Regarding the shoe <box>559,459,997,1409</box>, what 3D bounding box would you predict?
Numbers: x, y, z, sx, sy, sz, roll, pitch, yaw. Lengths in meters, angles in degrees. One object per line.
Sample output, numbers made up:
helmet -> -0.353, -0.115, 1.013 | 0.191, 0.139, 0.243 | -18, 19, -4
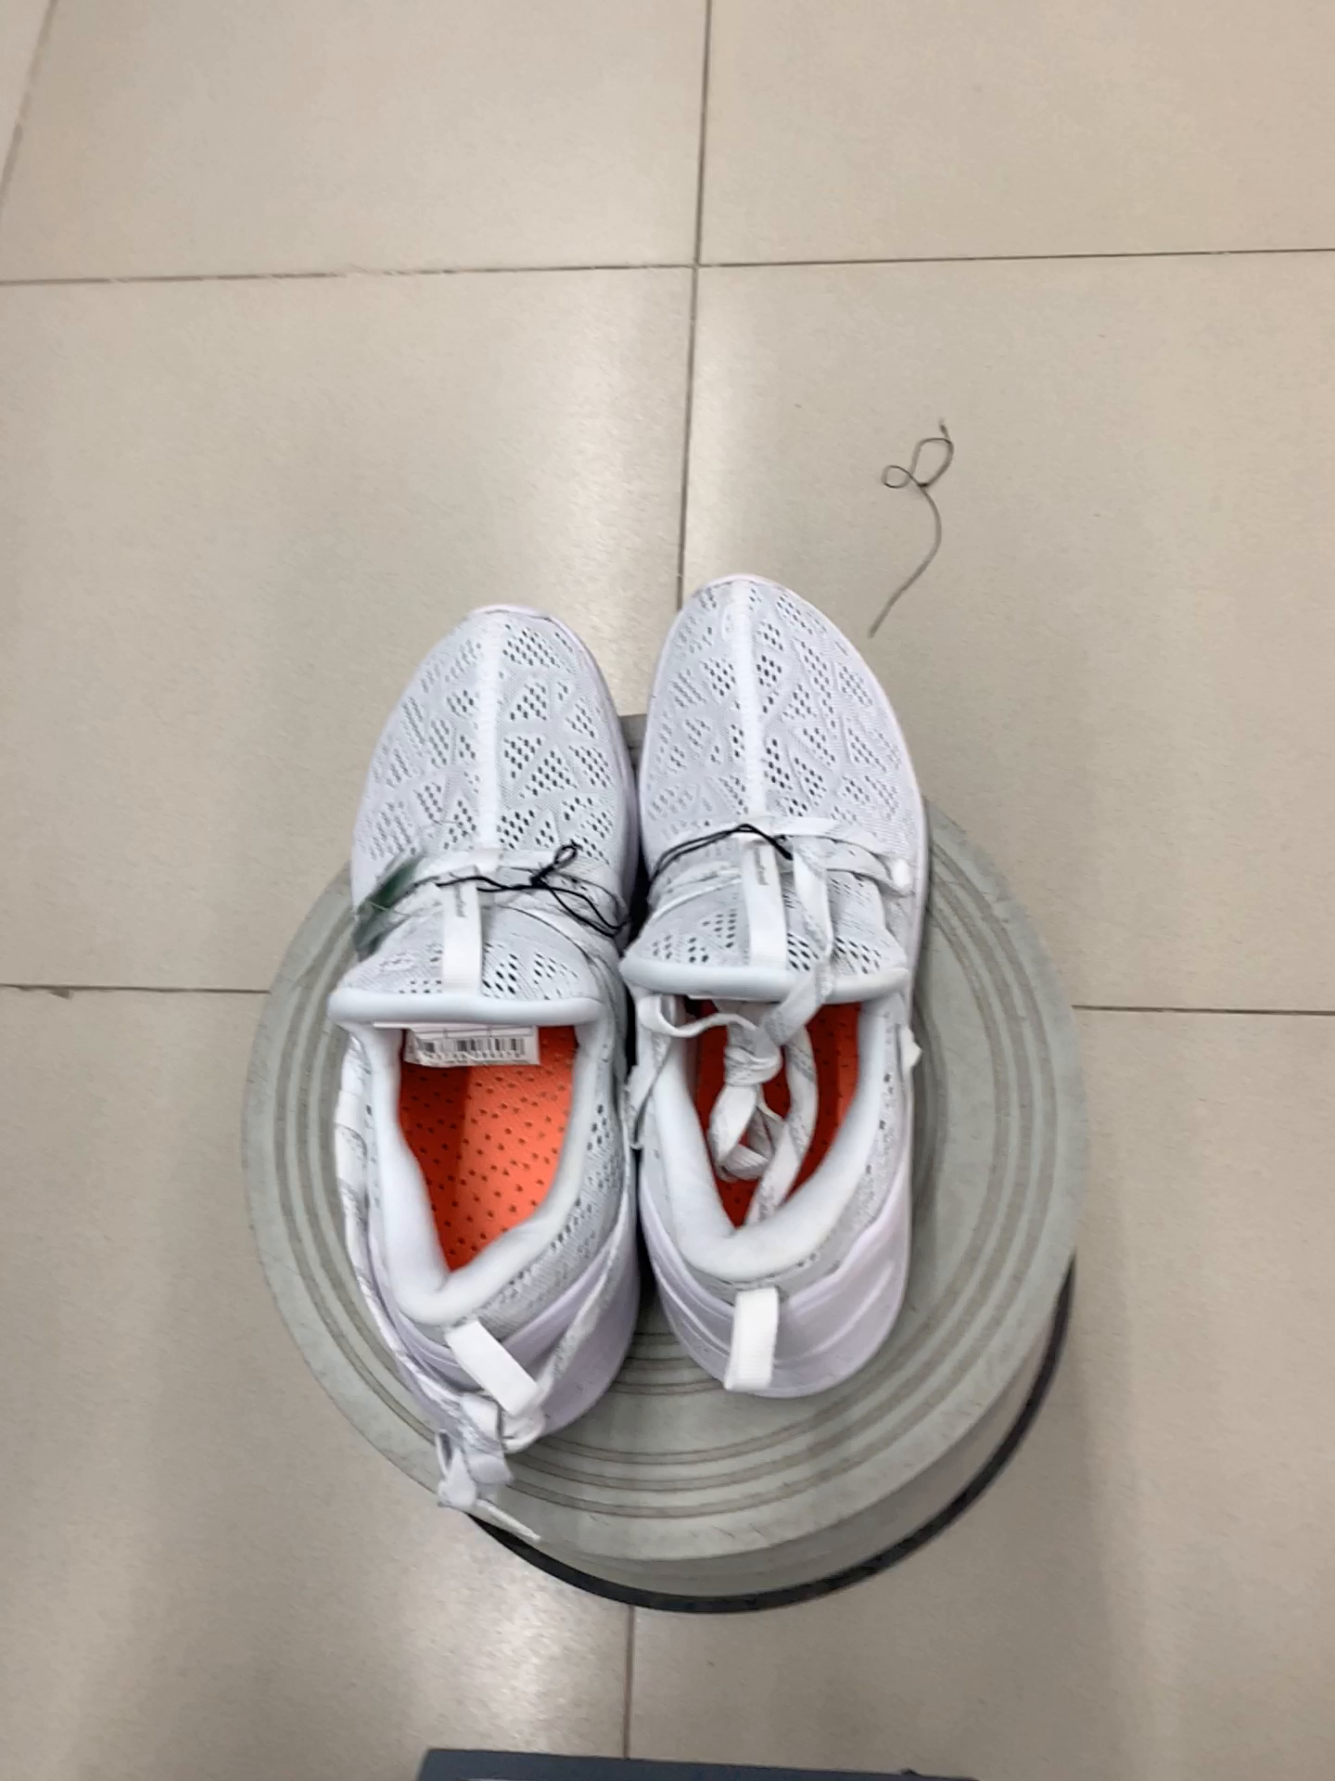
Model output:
shoe -> 0.029, 0.011, 0.427 | 0.110, 0.080, 0.280 | -2, 71, 4

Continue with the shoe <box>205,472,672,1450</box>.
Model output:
shoe -> -0.058, 0.019, 0.423 | 0.110, 0.090, 0.280 | -2, 71, 4
